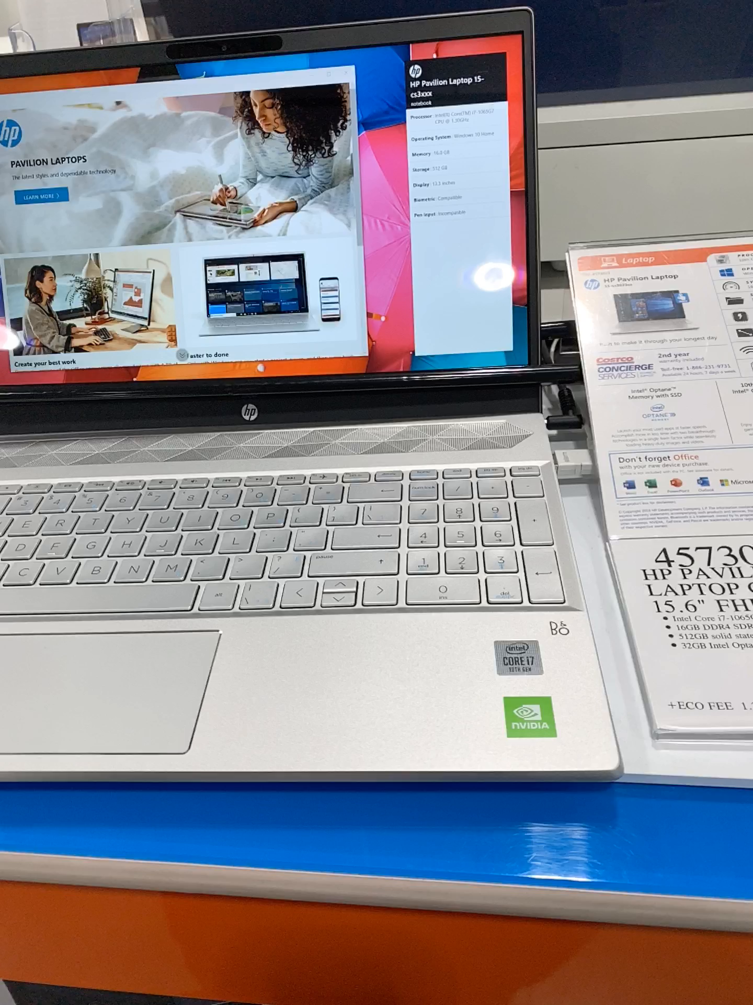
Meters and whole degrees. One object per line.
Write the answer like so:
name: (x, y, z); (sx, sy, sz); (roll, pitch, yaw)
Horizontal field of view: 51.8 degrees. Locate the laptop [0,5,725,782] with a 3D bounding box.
laptop: (-0.081, -0.081, 0.346); (0.332, 0.175, 0.335); (-2, 38, 5)
